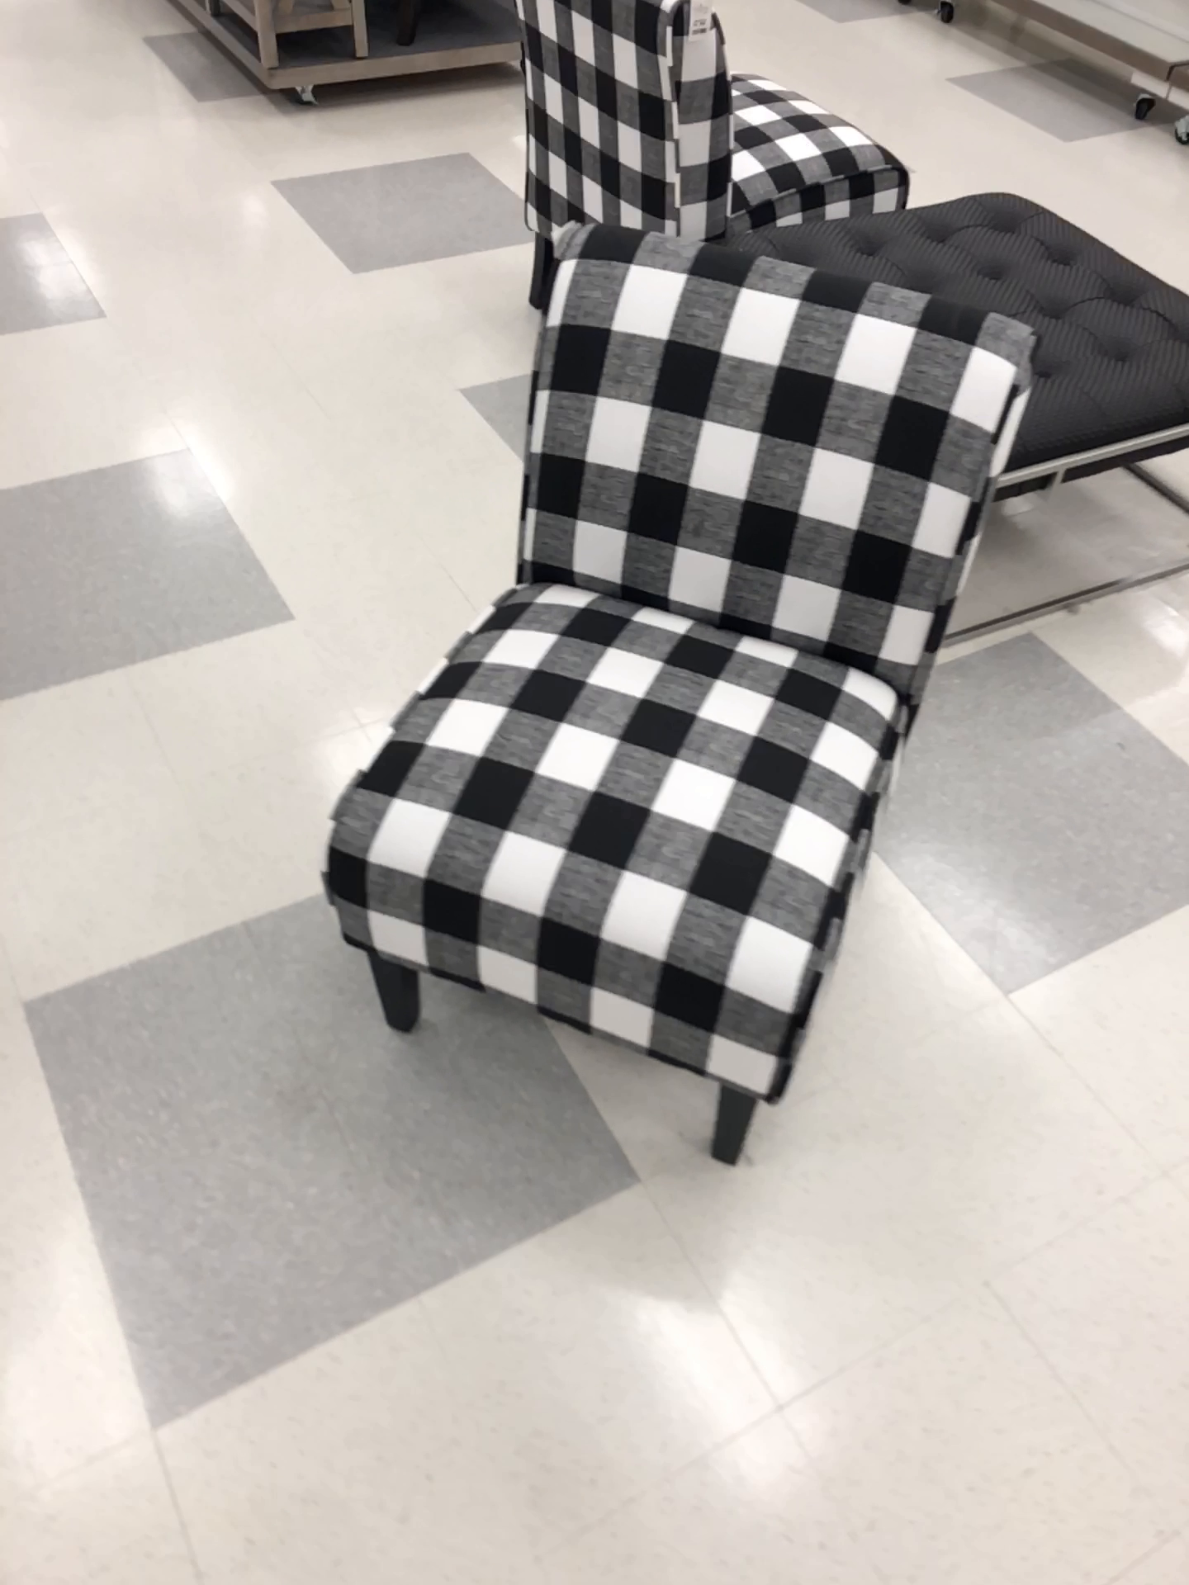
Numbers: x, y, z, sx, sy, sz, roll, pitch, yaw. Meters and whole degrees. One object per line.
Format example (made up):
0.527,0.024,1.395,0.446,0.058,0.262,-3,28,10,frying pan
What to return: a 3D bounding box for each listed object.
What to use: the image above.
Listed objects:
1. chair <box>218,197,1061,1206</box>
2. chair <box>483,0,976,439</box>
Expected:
0.074,-0.110,1.574,0.624,0.833,0.702,19,48,13,chair
0.227,-1.363,2.782,0.730,0.833,0.627,-20,51,-22,chair
